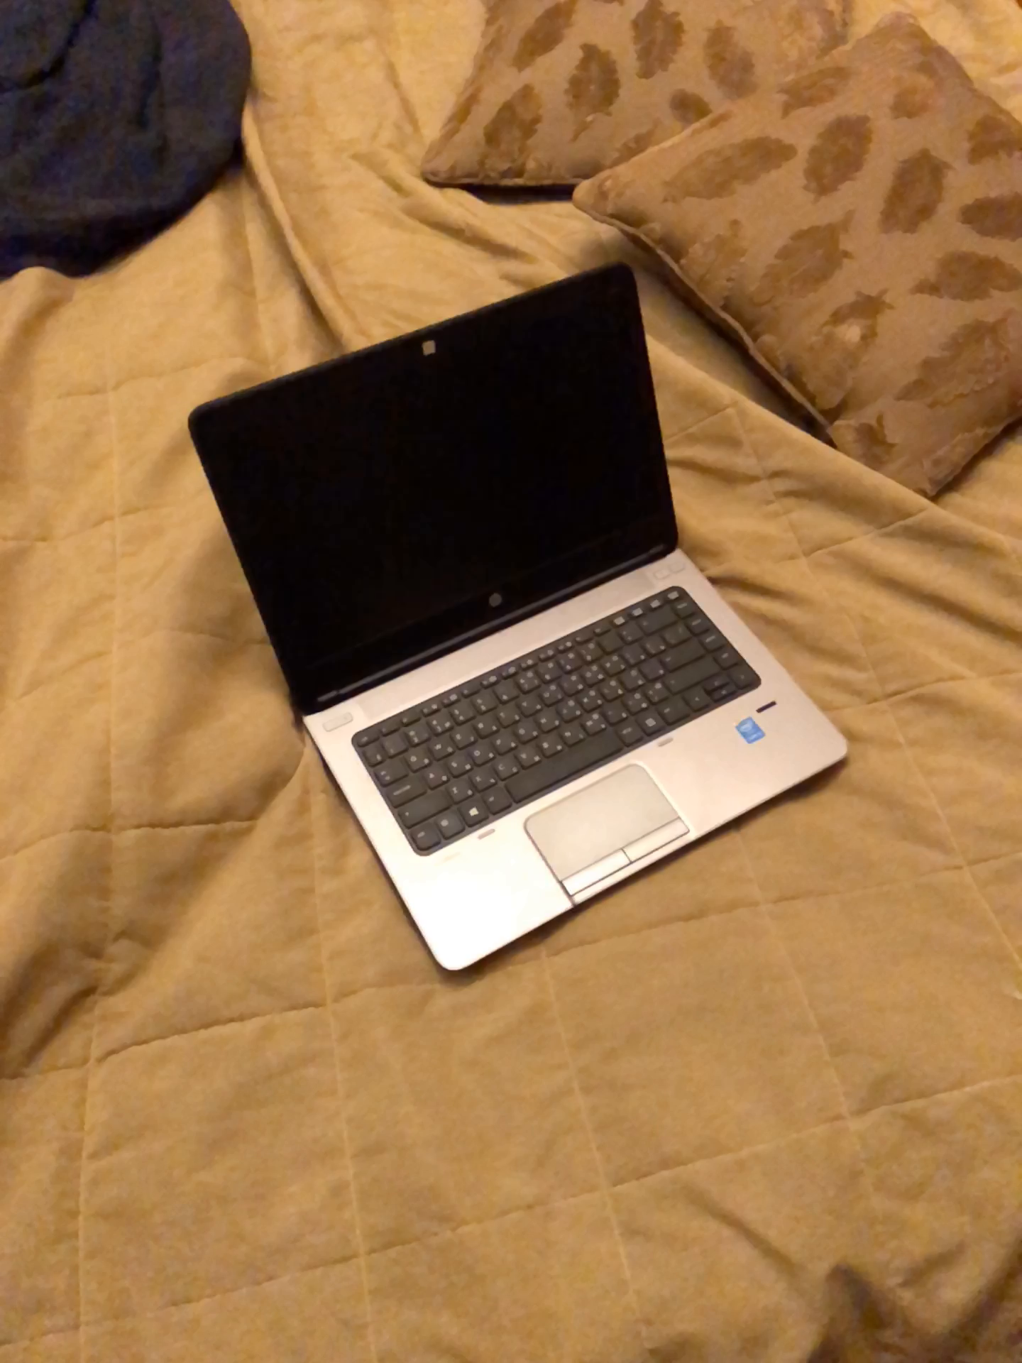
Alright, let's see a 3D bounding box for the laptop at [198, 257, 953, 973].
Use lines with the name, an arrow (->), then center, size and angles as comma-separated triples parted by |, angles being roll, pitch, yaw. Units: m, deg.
laptop -> 0.025, -0.061, 0.762 | 0.333, 0.189, 0.339 | -25, 61, -17
